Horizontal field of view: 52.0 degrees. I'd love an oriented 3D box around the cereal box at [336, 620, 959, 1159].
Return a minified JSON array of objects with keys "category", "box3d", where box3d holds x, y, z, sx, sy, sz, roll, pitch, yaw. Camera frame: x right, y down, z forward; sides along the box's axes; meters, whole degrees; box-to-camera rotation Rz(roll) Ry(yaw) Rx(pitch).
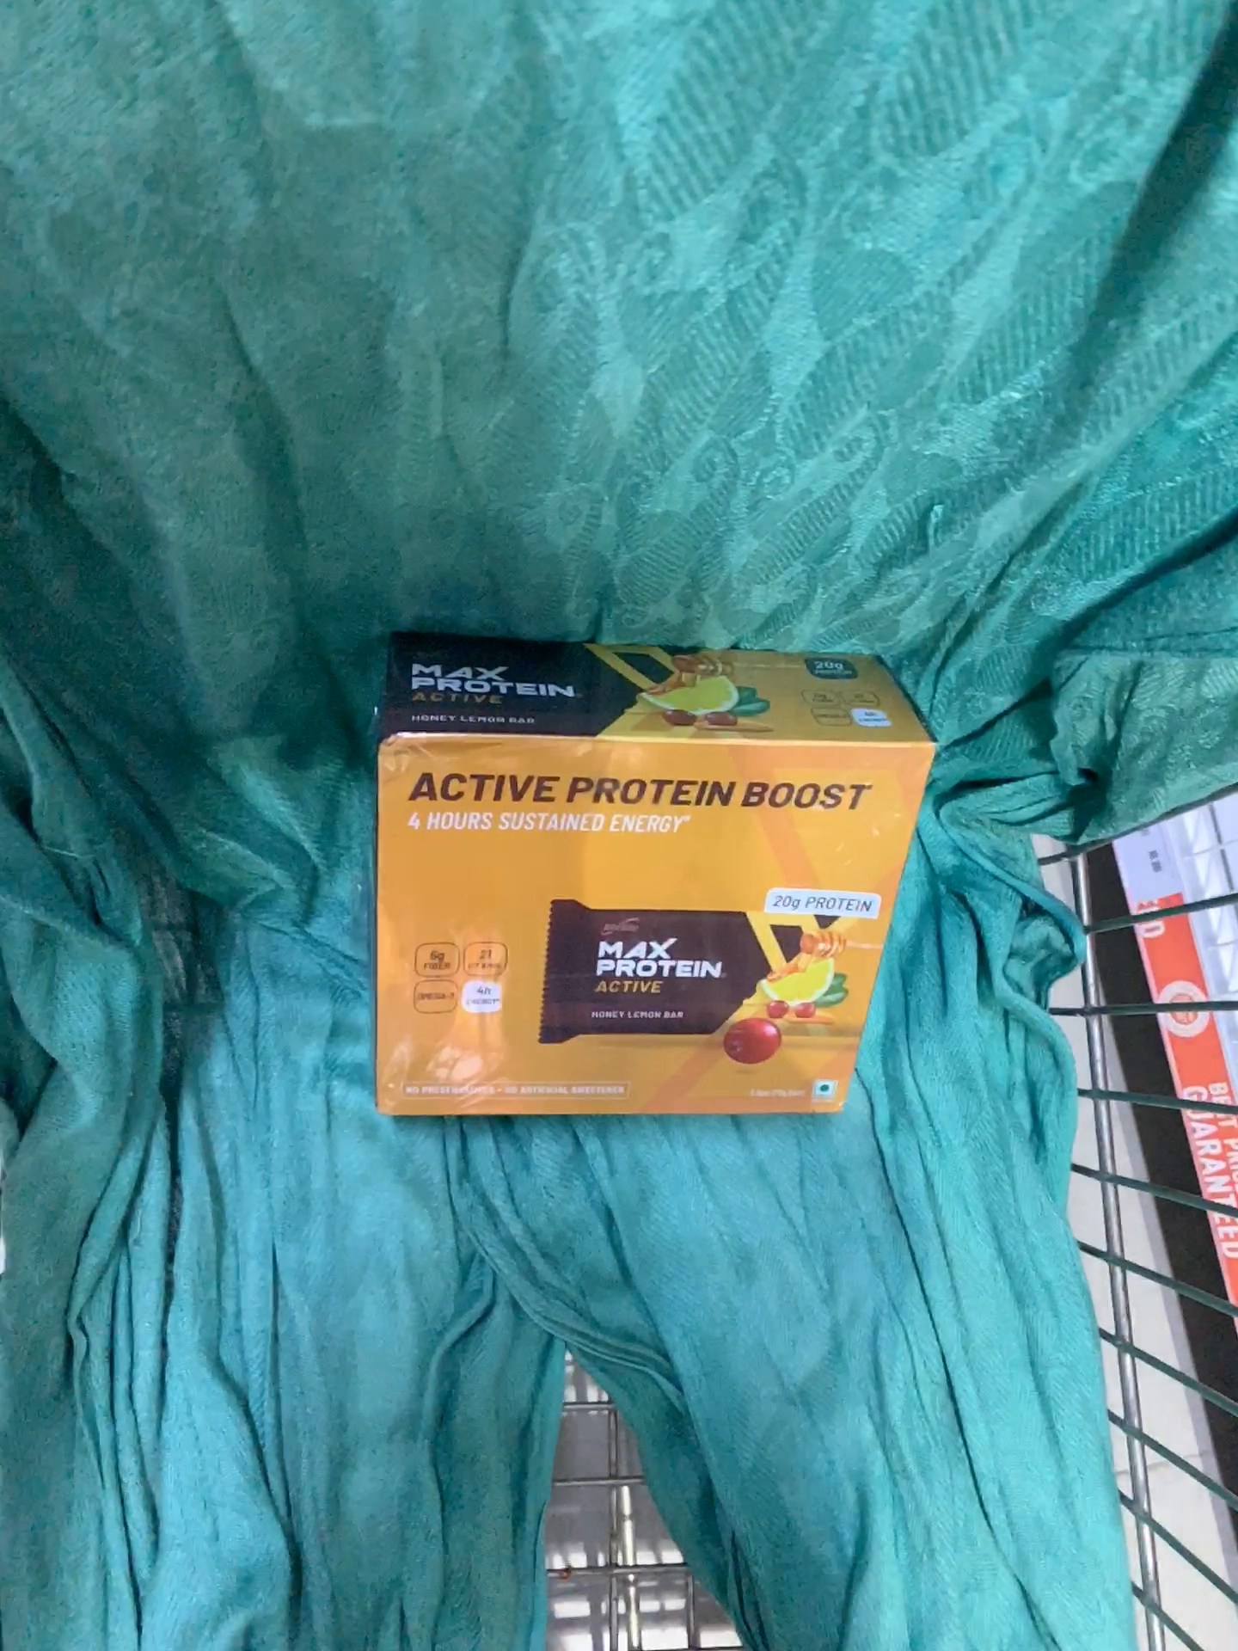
[{"category":"cereal box","box3d":[0.000,0.021,0.391,0.160,0.080,0.140,1,119,-7]}]
